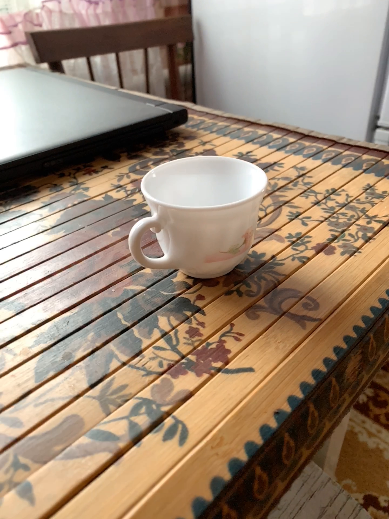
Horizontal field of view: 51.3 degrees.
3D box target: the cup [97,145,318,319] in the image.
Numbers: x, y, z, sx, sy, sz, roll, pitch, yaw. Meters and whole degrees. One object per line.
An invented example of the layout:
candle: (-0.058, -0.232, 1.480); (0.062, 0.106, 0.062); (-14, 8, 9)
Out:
cup: (0.006, -0.021, 0.203); (0.081, 0.039, 0.068); (-26, 41, -30)
